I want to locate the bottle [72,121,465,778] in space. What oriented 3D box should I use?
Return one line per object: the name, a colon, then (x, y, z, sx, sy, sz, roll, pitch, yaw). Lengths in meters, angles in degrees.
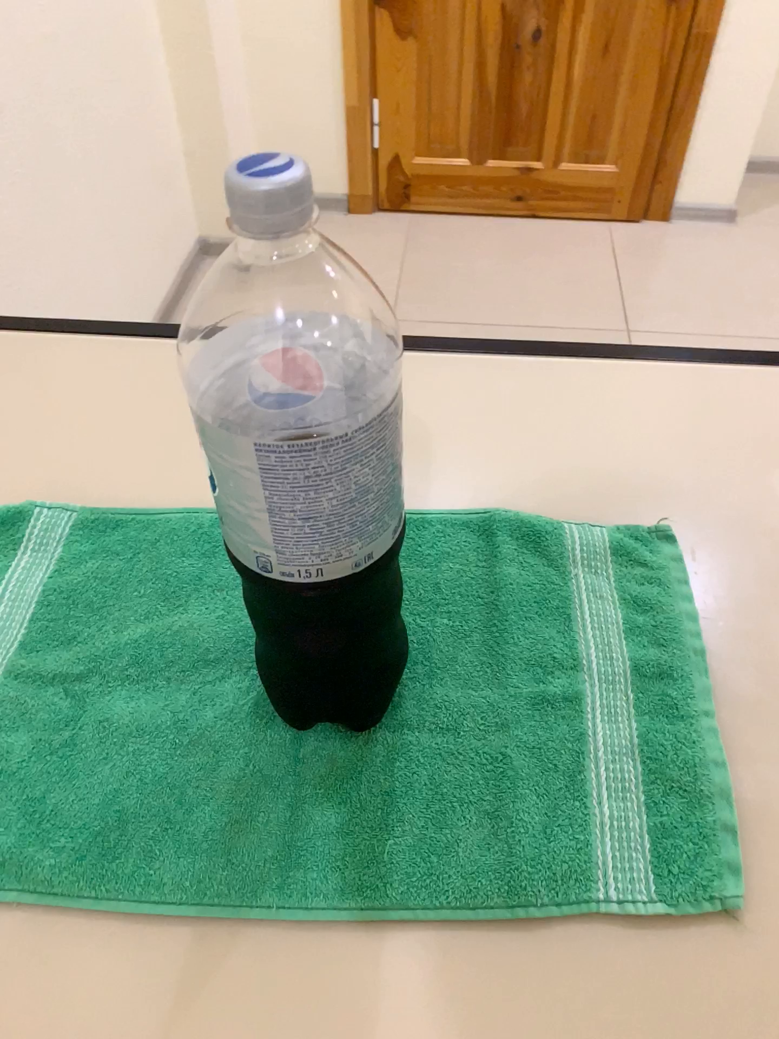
bottle: (-0.043, -0.008, 0.385, 0.100, 0.298, 0.100, 0, 47, 0)
